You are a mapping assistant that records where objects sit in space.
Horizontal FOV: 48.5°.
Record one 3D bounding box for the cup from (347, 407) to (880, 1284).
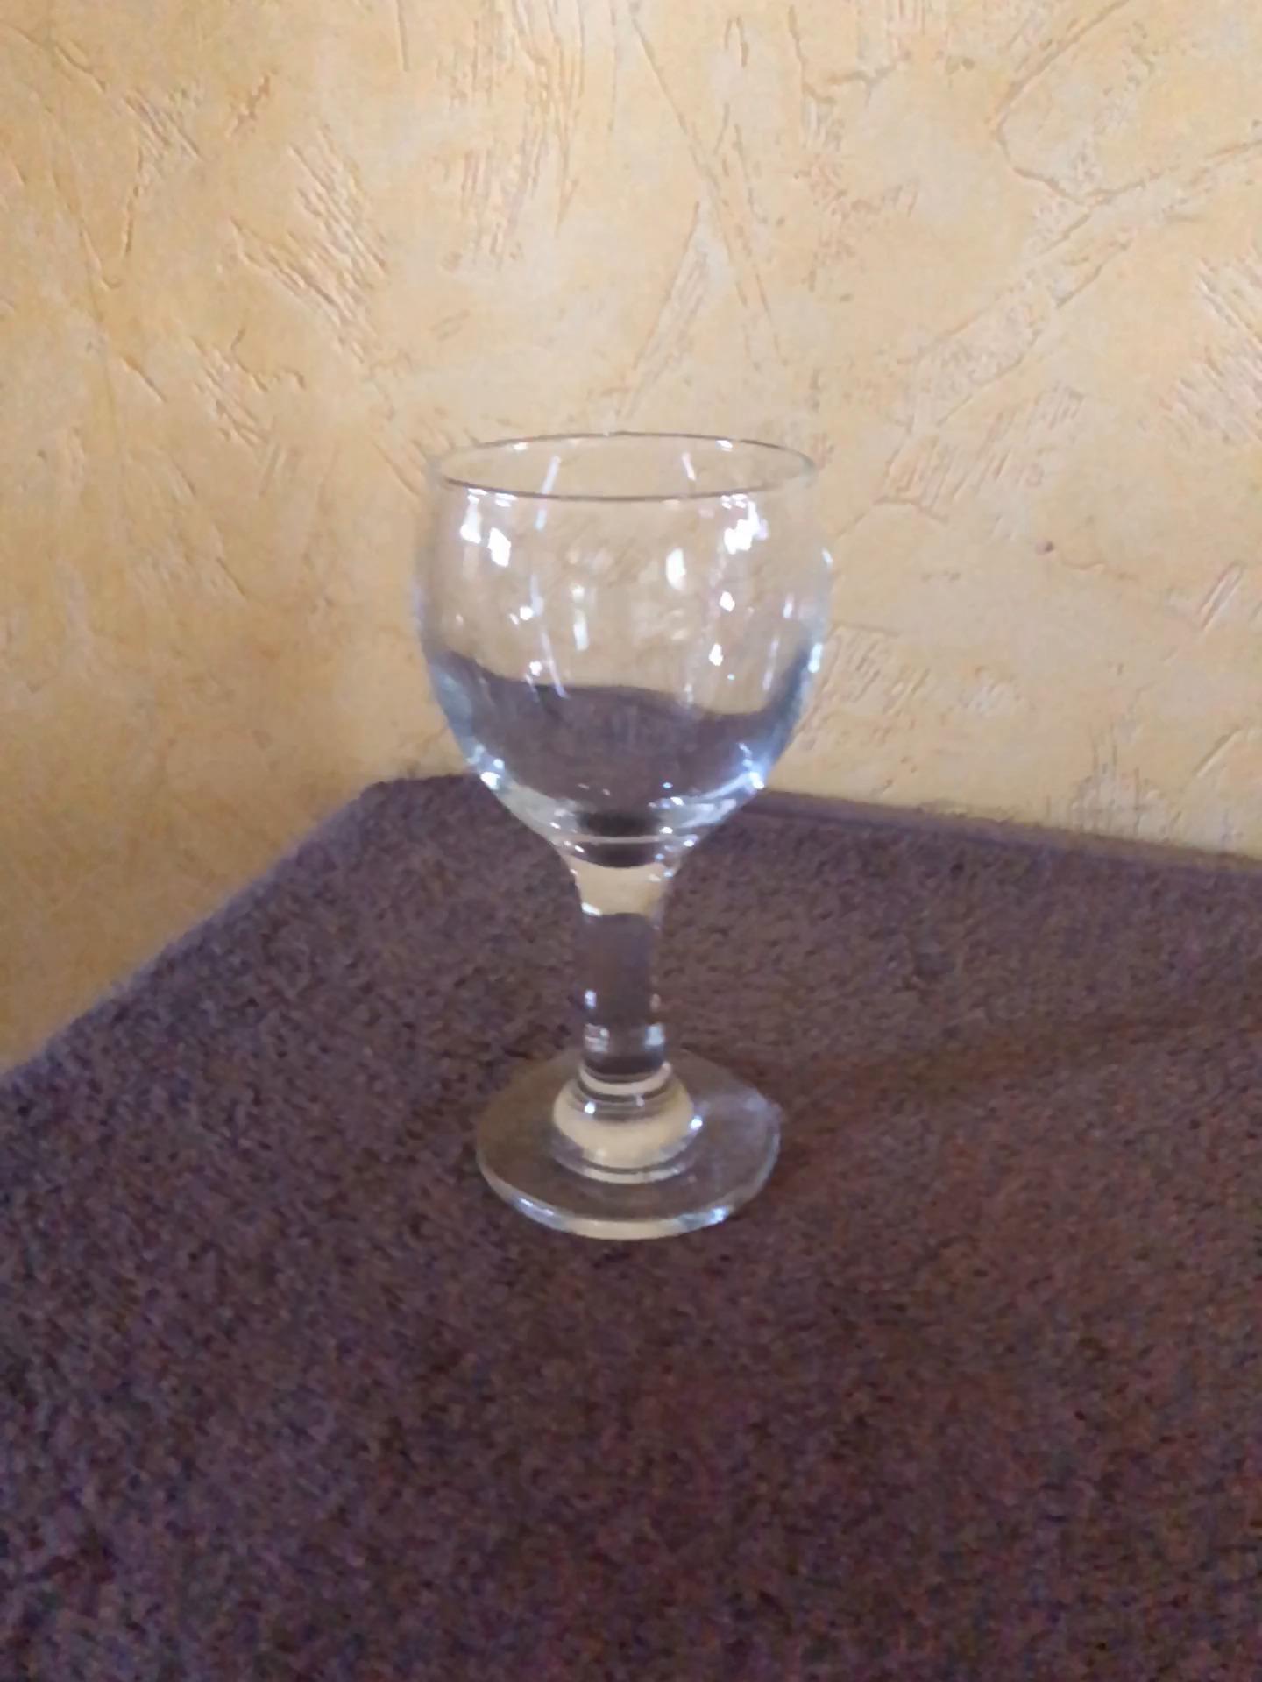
[{"bbox_3d":[-0.004,-0.002,0.241,0.070,0.129,0.070,-1,23,0],"label":"cup"}]
